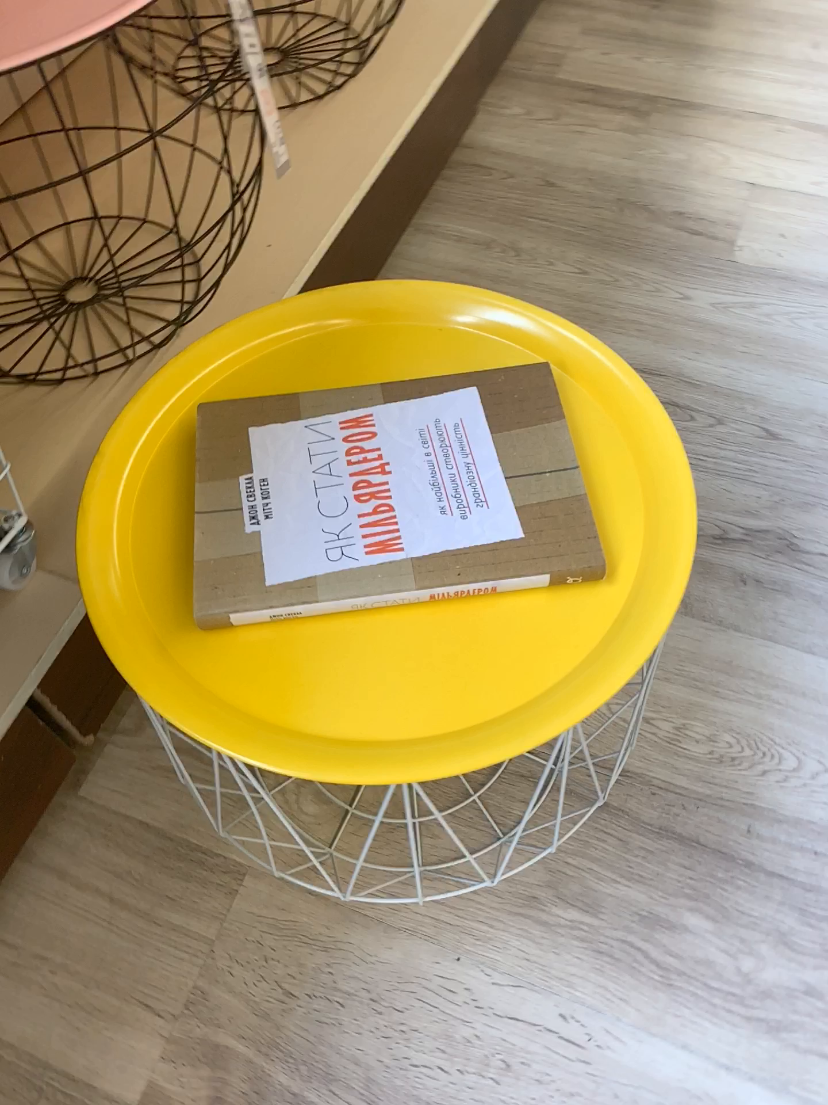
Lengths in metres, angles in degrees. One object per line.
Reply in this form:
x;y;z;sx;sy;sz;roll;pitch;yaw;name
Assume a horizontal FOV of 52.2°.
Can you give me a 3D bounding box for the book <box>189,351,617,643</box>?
-0.017;-0.042;0.518;0.236;0.020;0.170;-8;57;-3;book
